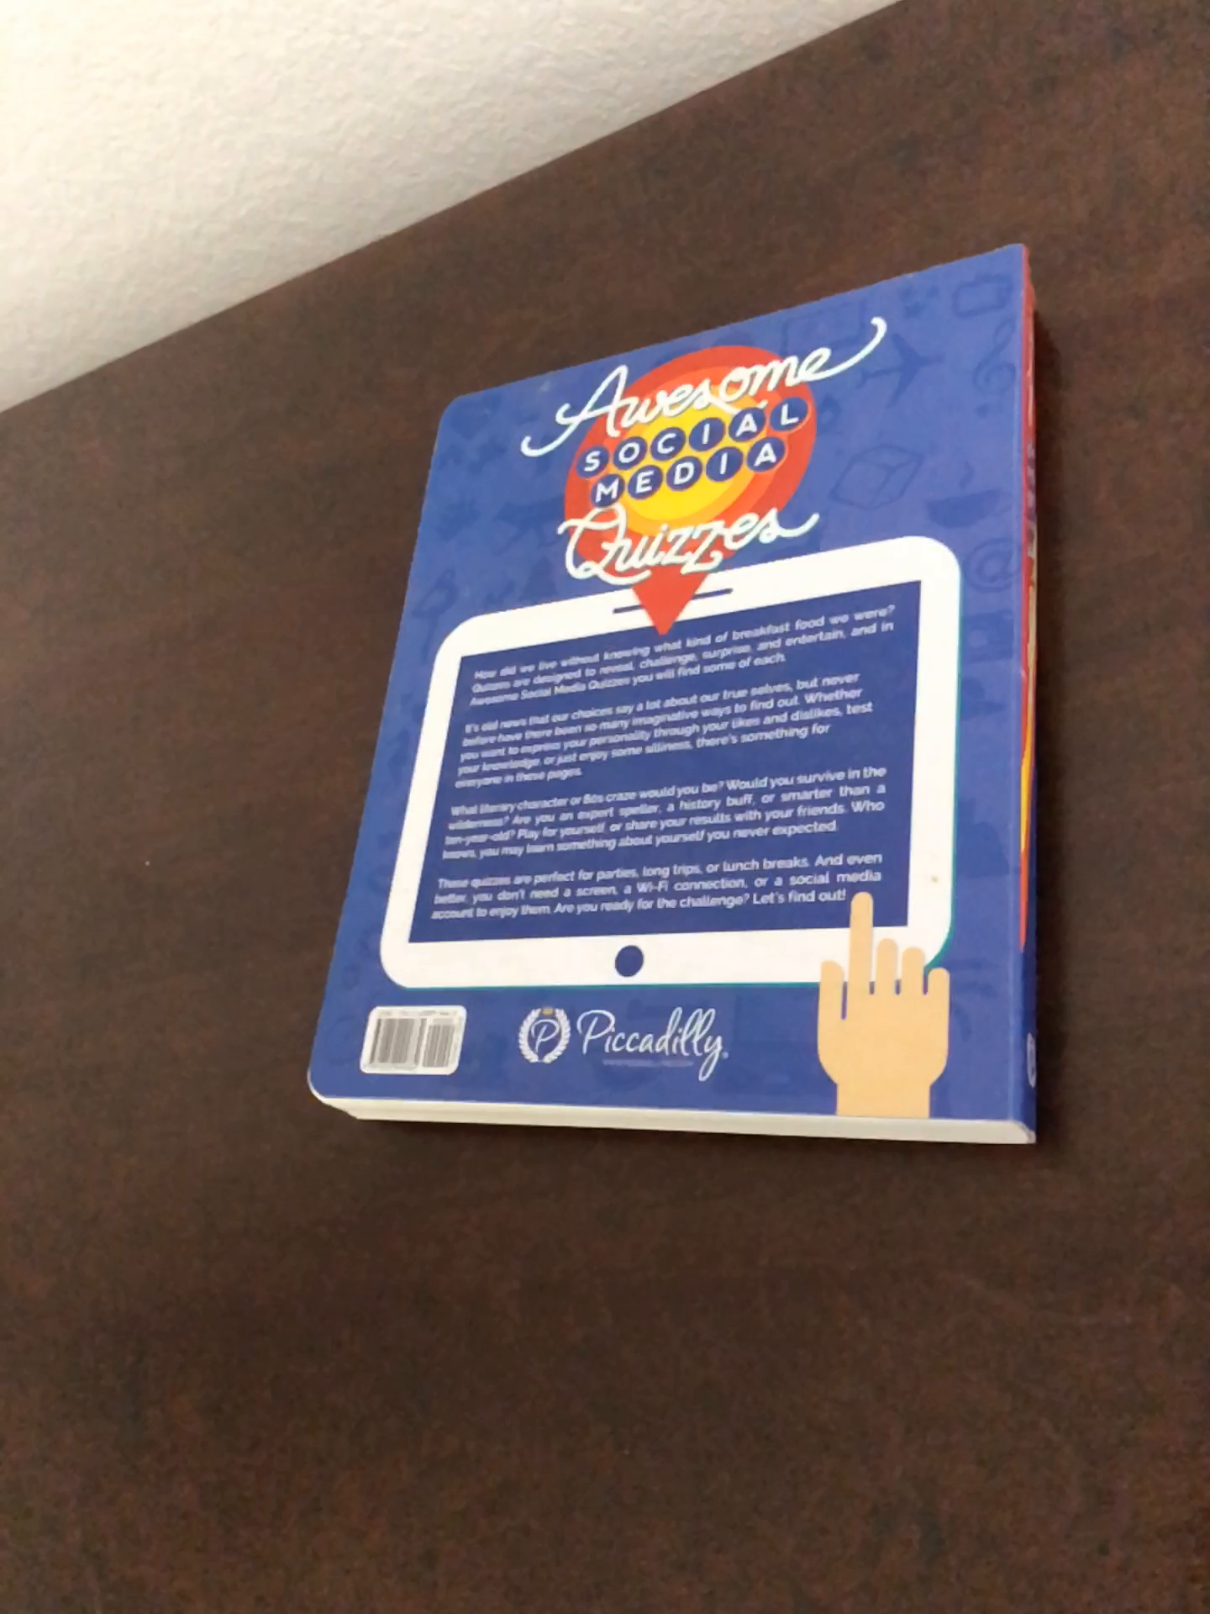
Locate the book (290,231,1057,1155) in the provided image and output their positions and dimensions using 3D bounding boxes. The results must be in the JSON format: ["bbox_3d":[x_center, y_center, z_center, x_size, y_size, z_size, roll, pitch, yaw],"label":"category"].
[{"bbox_3d":[0.018,-0.026,0.321,0.166,0.030,0.201,-5,66,28],"label":"book"}]
